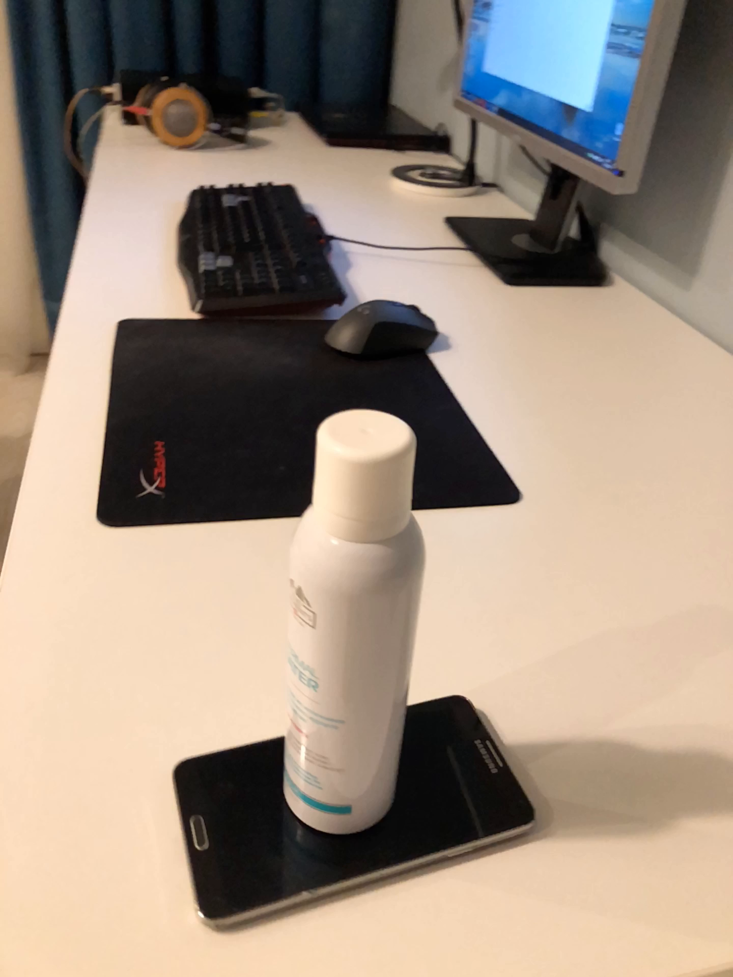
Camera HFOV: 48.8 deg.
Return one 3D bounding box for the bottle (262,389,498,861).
[{"bbox_3d":[-0.002,0.057,0.317,0.059,0.175,0.054,-19,39,-33],"label":"bottle"}]
